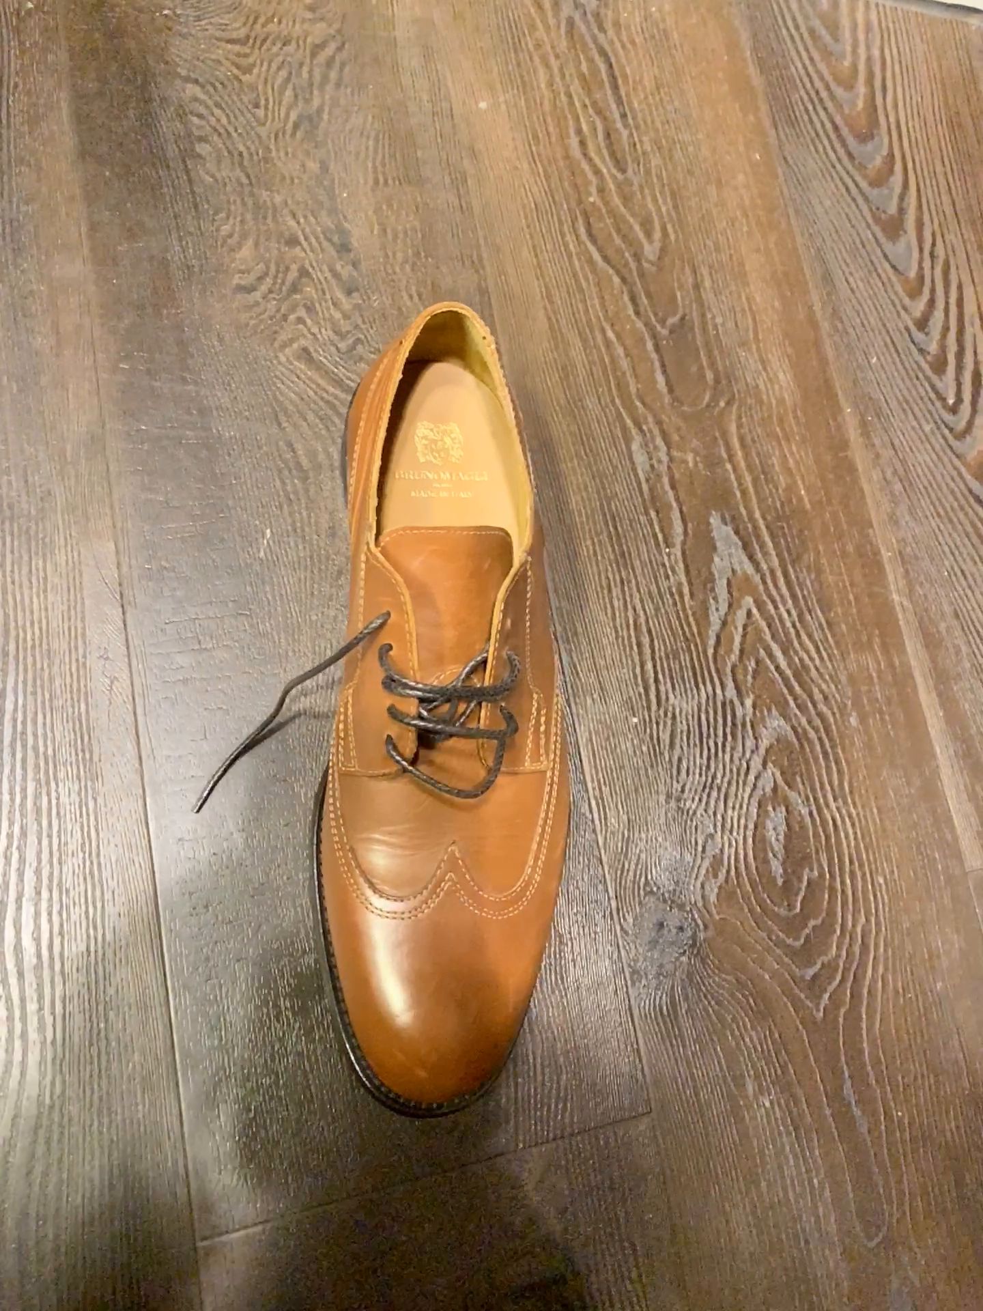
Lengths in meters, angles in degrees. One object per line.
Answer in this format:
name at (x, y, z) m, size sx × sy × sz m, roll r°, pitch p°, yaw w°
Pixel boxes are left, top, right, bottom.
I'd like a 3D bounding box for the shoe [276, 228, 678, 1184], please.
shoe at (-0.014, 0.014, 0.398) m, size 0.120 × 0.110 × 0.321 m, roll 3°, pitch 75°, yaw -15°
